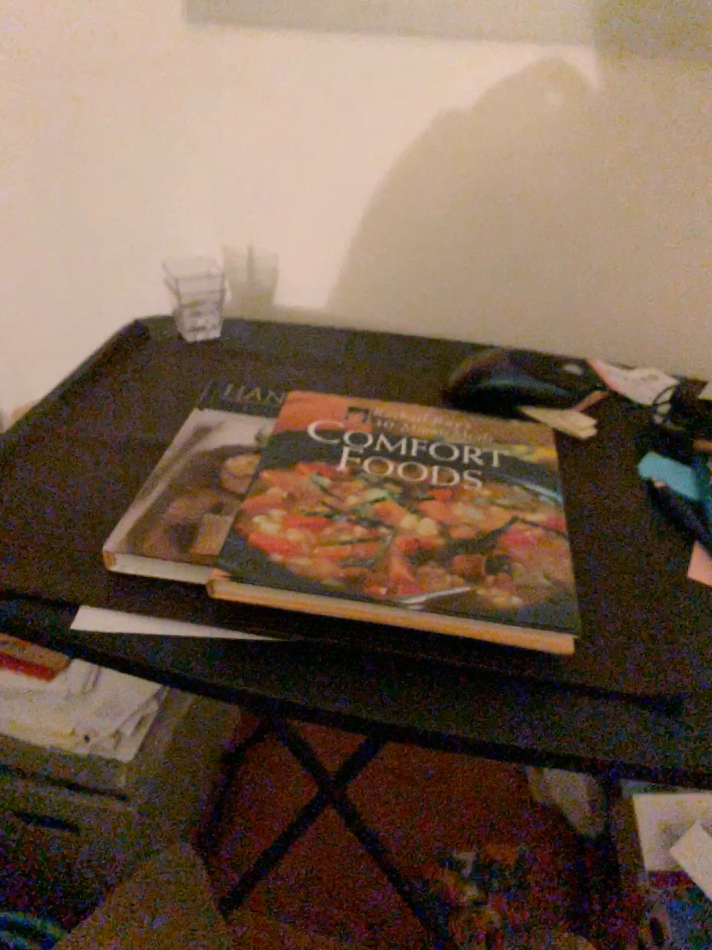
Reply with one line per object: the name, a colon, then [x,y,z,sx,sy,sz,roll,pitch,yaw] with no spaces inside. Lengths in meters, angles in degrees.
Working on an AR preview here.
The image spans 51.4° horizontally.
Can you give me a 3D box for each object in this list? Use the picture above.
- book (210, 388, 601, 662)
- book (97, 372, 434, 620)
book: [0.037,0.015,0.468,0.200,0.020,0.211,7,35,4]
book: [-0.043,-0.001,0.510,0.180,0.020,0.221,8,35,5]
